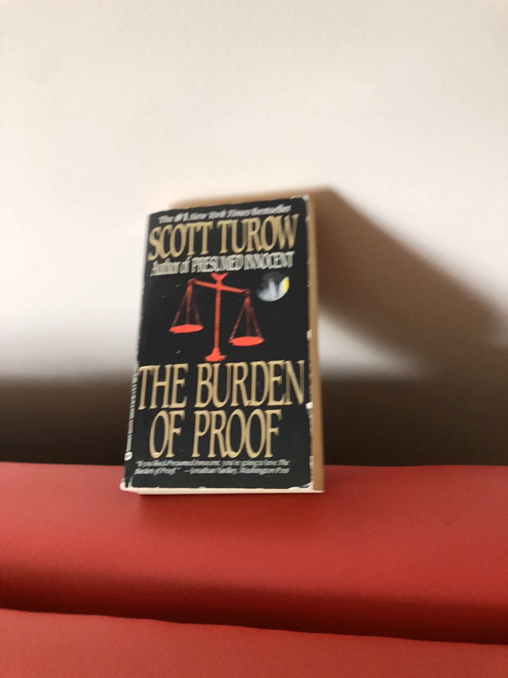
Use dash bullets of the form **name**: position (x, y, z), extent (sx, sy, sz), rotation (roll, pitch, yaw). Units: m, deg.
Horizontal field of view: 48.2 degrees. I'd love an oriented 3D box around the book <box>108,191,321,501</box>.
- **book**: position (-0.017, 0.004, 0.333), extent (0.106, 0.045, 0.171), rotation (-3, 69, 10)
